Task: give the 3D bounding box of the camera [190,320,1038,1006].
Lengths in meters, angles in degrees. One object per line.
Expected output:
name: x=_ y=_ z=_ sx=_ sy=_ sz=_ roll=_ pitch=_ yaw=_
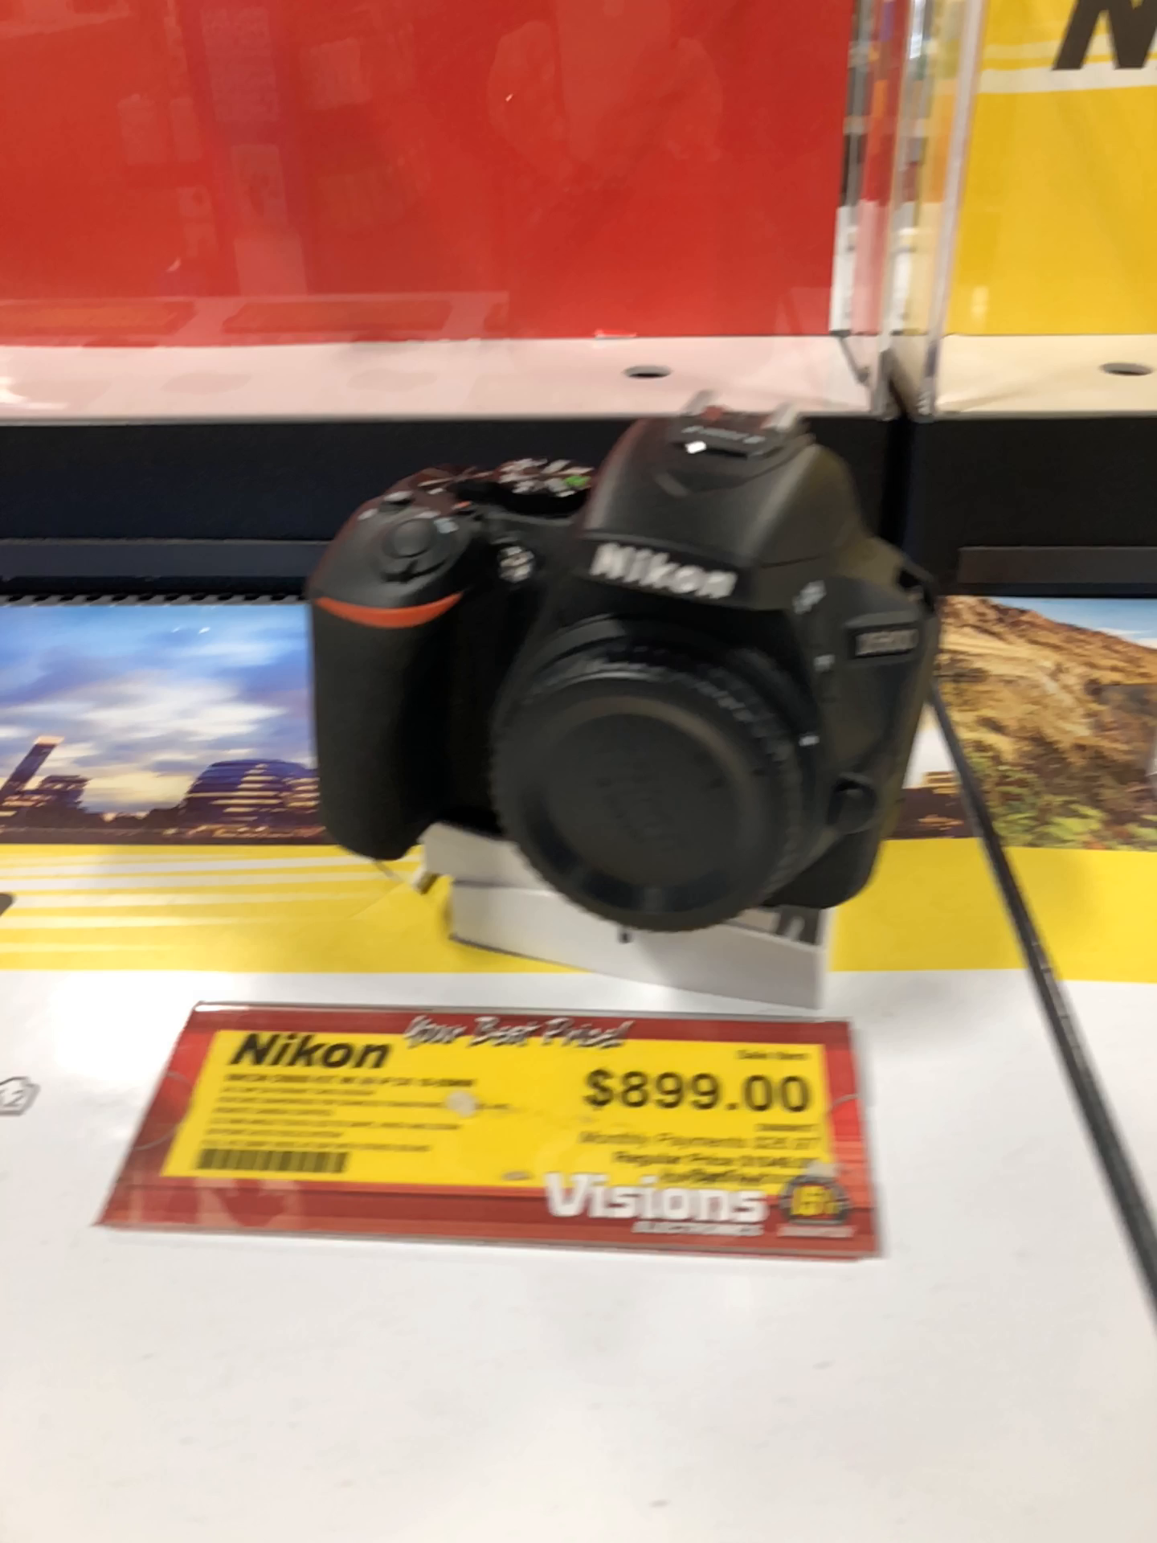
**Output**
camera: x=0.009 y=-0.030 z=0.259 sx=0.140 sy=0.089 sz=0.080 roll=12 pitch=31 yaw=15
